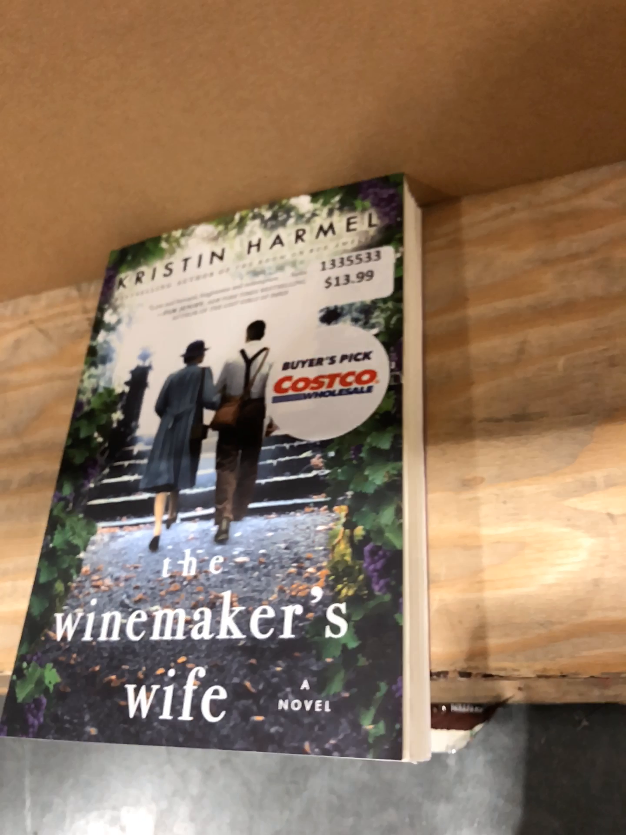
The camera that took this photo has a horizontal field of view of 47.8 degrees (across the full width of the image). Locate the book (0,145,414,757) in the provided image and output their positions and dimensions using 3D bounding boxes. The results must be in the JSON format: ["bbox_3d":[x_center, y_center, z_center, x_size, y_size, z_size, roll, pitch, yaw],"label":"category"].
[{"bbox_3d":[-0.040,0.005,0.283,0.154,0.035,0.229,-9,57,23],"label":"book"}]
